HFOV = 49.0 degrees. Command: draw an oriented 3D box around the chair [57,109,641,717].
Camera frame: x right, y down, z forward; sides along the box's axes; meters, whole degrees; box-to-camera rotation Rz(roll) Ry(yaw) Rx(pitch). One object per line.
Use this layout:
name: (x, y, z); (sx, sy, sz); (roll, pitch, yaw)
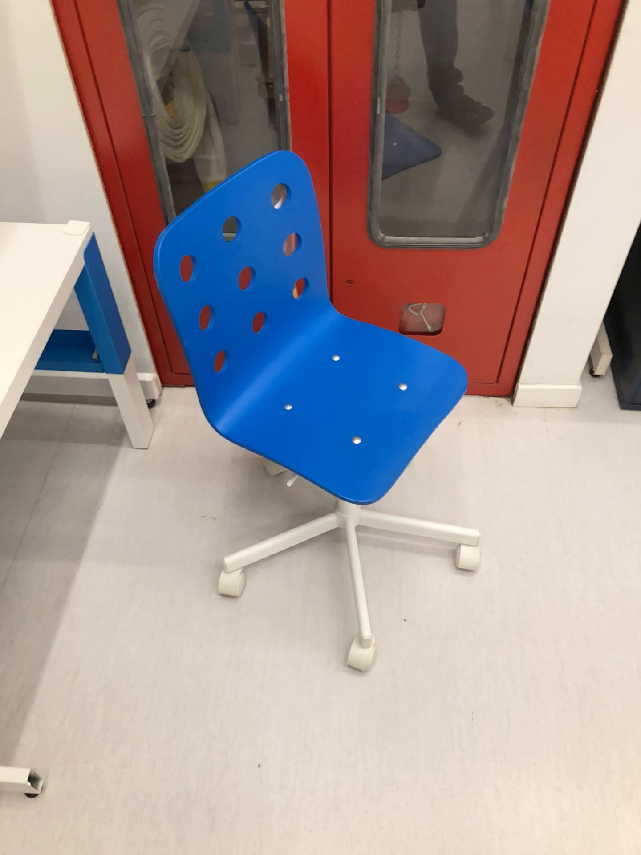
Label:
chair: (0.068, -0.031, 1.166); (0.561, 0.626, 0.572); (27, 56, 22)
